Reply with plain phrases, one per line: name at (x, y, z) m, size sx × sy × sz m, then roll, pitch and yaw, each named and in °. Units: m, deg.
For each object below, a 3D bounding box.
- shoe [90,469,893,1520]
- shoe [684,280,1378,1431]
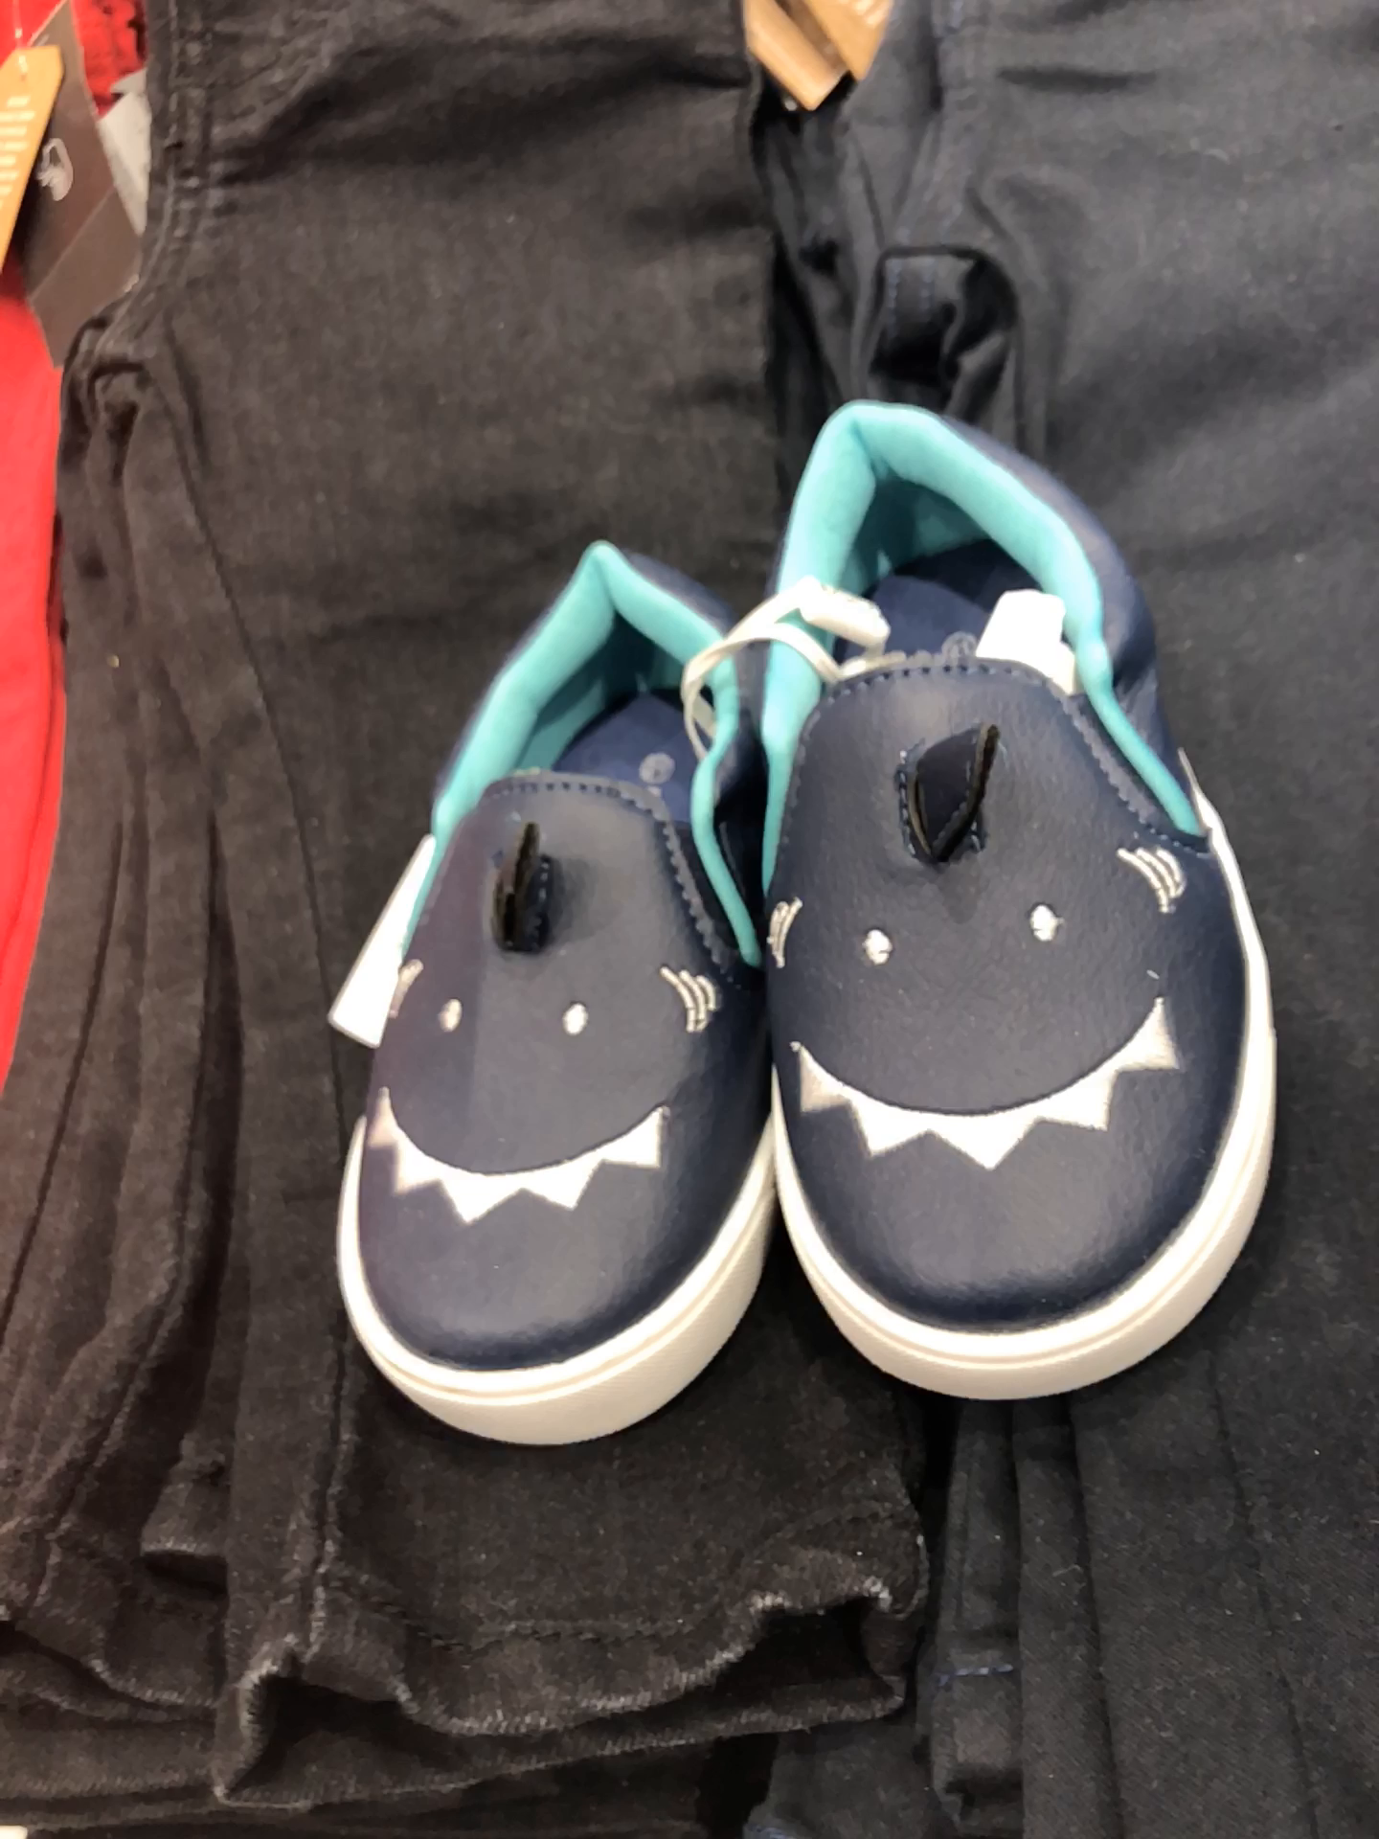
shoe at (-0.017, 0.004, 0.239) m, size 0.080 × 0.050 × 0.151 m, roll 0°, pitch 55°, yaw 15°
shoe at (0.045, -0.016, 0.216) m, size 0.080 × 0.050 × 0.151 m, roll -8°, pitch 53°, yaw 10°
